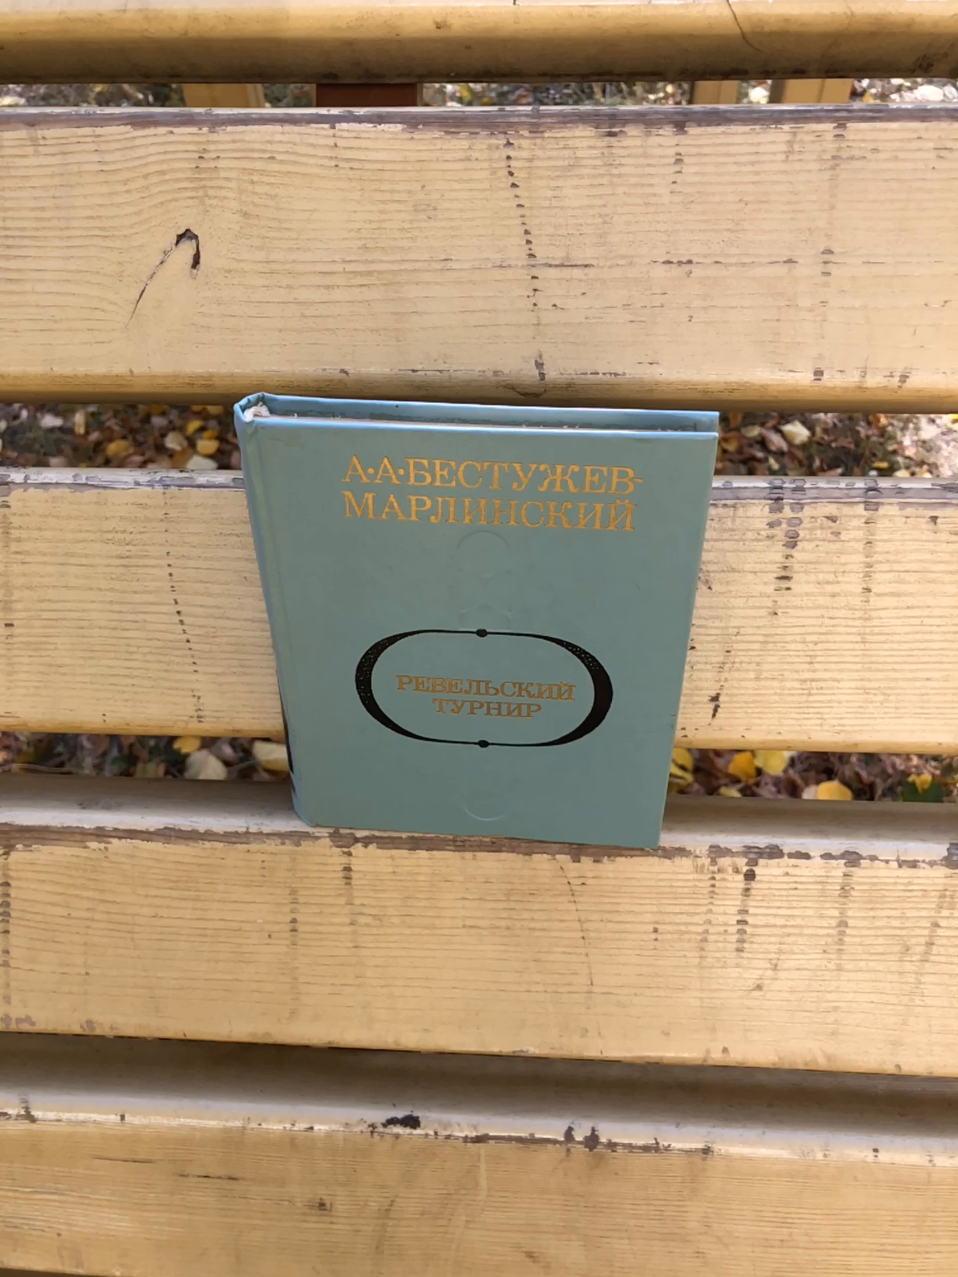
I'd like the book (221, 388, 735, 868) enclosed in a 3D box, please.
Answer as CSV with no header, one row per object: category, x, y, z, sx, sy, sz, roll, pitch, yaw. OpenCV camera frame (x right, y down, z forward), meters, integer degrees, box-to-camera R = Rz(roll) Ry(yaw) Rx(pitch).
book,0.002,0.004,0.347,0.140,0.169,0.022,4,39,8
